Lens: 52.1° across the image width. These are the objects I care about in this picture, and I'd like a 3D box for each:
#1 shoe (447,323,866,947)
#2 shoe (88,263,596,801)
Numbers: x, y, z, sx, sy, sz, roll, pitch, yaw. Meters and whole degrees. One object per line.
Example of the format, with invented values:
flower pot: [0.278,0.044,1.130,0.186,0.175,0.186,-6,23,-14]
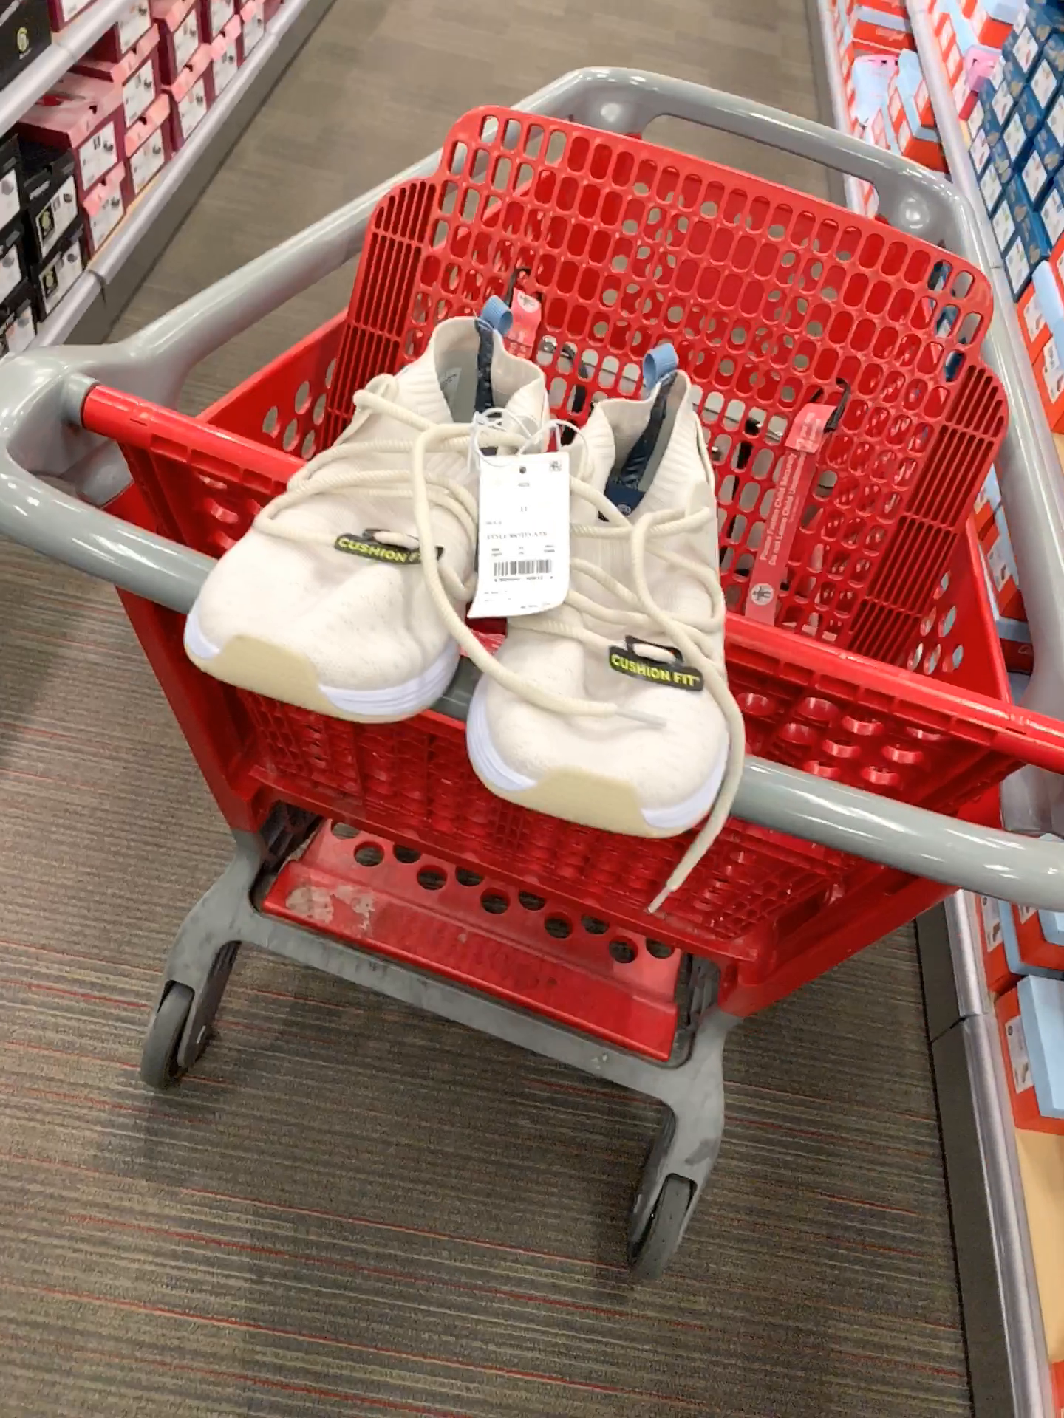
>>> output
shoe: [0.044,-0.053,0.464,0.110,0.110,0.281,11,37,-4]
shoe: [-0.065,-0.100,0.482,0.110,0.110,0.281,20,34,3]
